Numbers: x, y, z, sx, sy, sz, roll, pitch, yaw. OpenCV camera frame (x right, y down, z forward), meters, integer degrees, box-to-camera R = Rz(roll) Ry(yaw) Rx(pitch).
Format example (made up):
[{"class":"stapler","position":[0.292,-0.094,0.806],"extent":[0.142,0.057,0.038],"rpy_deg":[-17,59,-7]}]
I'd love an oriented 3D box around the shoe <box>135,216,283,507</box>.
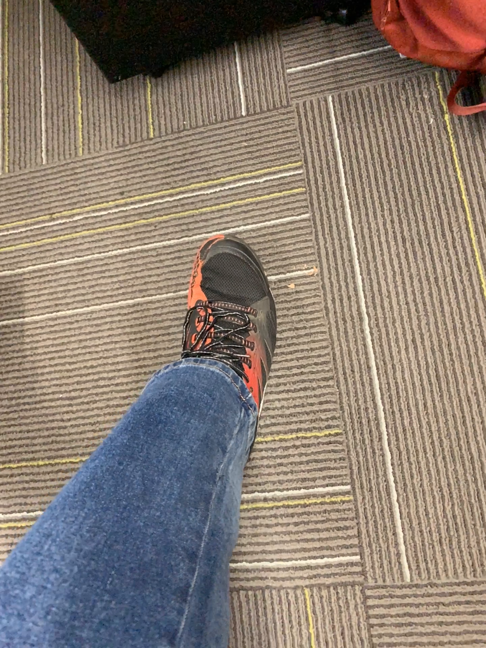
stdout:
[{"class":"shoe","position":[-0.033,0.037,0.592],"extent":[0.131,0.077,0.318],"rpy_deg":[2,79,13]}]
